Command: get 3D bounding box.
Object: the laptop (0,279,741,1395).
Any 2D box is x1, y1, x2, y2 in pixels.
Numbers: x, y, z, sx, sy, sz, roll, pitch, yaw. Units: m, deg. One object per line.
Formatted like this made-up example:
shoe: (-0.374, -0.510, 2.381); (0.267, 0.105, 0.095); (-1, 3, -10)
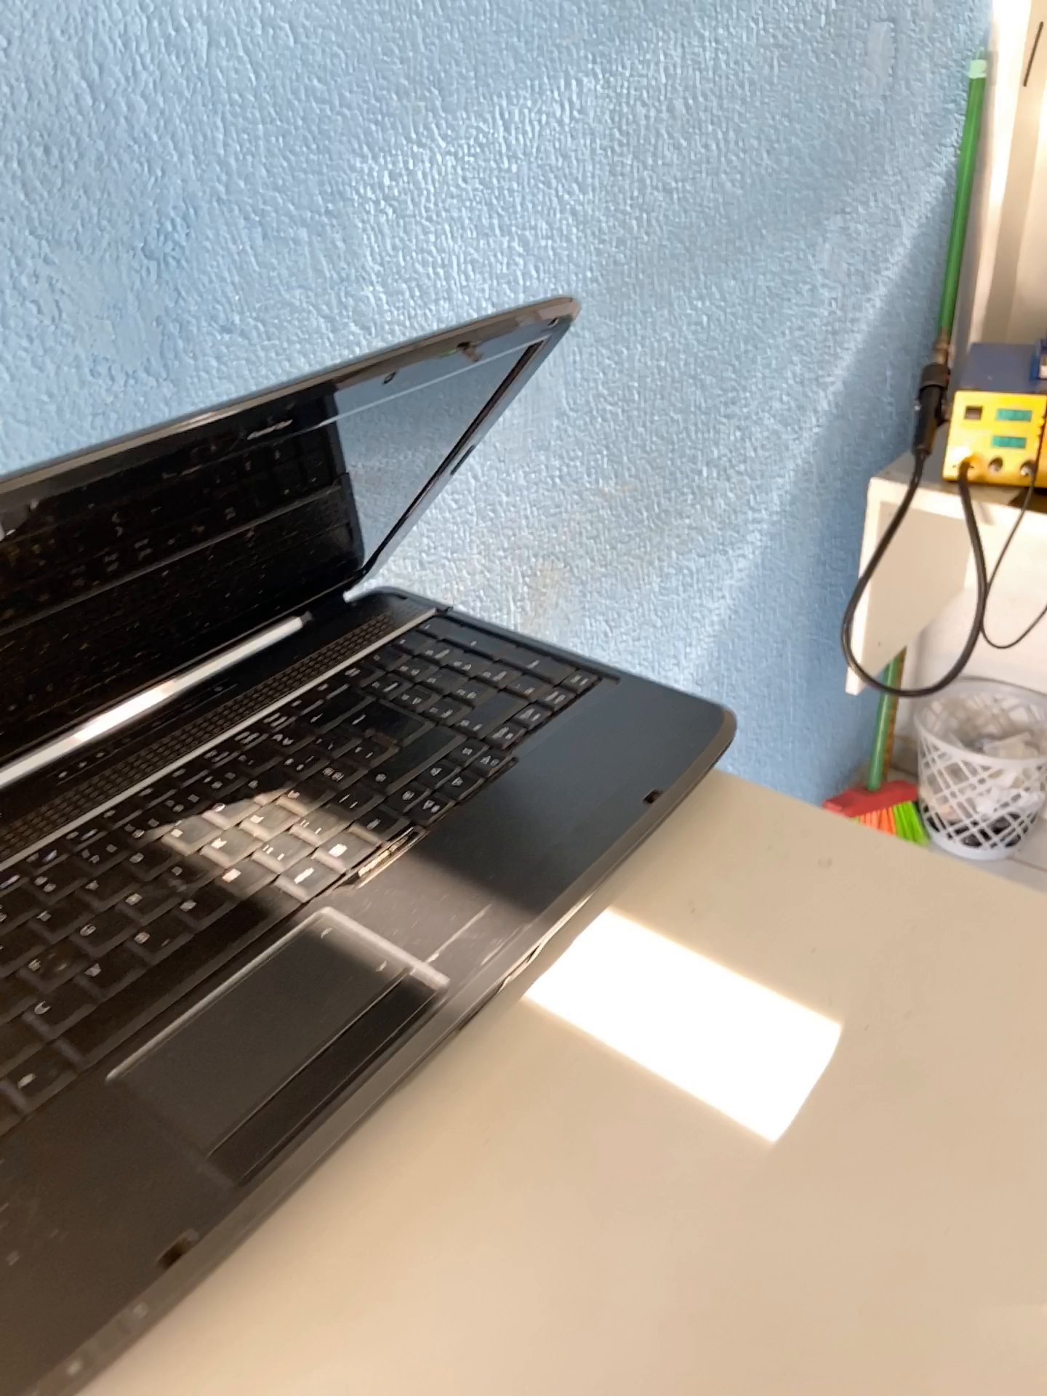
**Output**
laptop: (-0.117, -0.017, 0.389); (0.236, 0.174, 0.379); (19, 38, 33)
